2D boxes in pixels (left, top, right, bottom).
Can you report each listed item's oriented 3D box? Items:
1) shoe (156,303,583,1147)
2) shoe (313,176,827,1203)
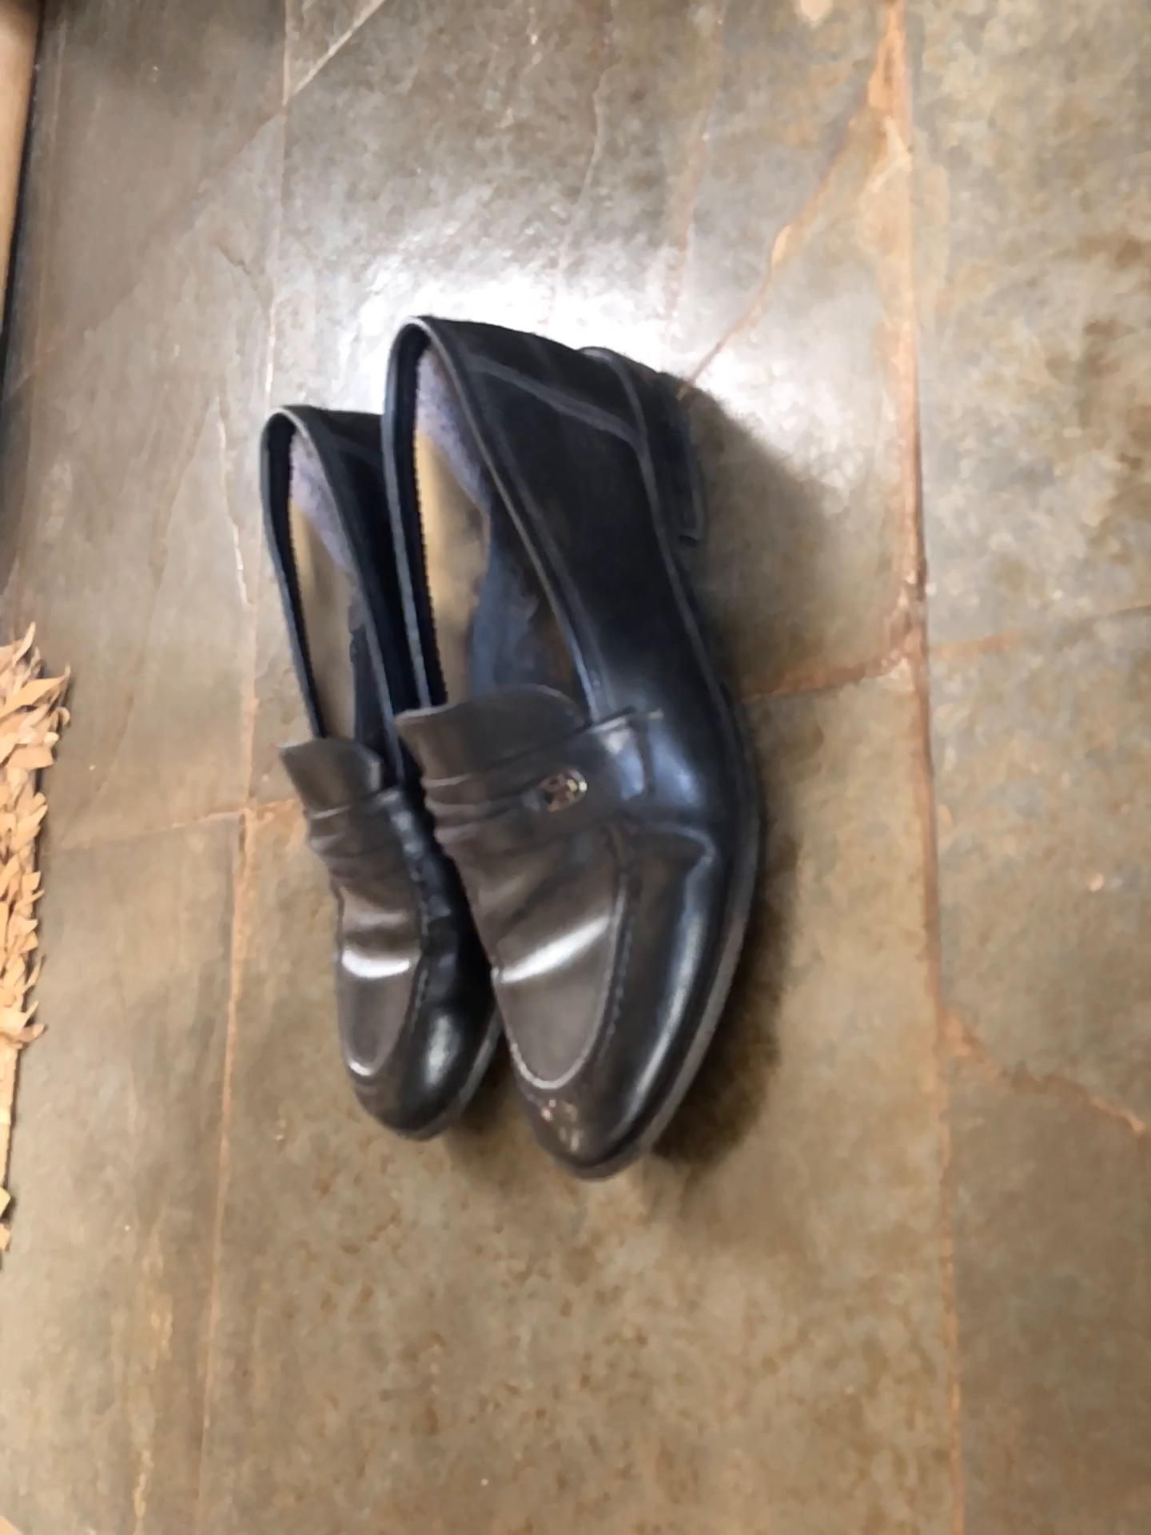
[{"bbox_3d":[-0.071,-0.008,0.448,0.100,0.100,0.260,-10,75,49],"label":"shoe"},{"bbox_3d":[-0.006,-0.016,0.374,0.100,0.100,0.260,-16,70,47],"label":"shoe"}]
